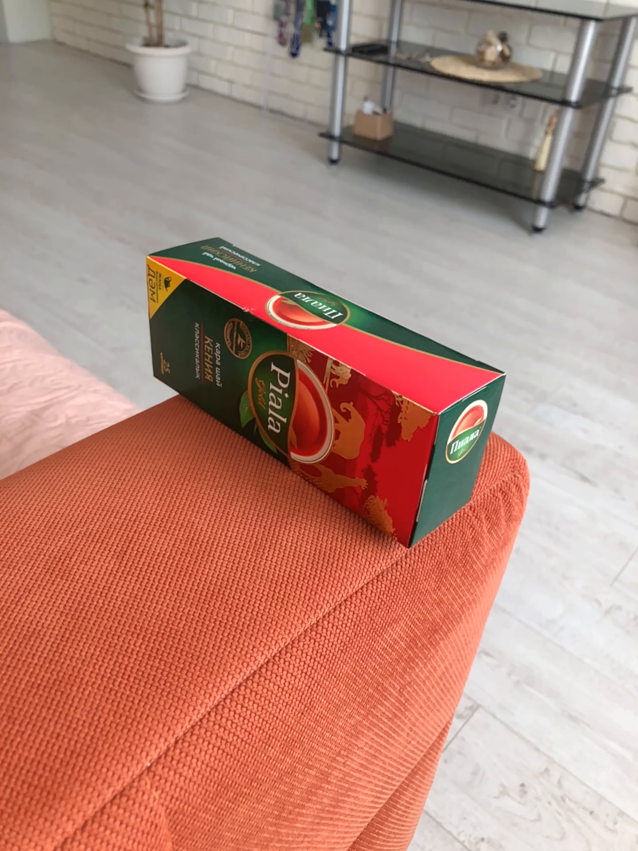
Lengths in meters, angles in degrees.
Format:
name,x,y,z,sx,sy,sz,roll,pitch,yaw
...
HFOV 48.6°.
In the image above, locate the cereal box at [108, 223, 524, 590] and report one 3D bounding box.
name,x,y,z,sx,sy,sz,roll,pitch,yaw
cereal box,-0.012,-0.018,0.288,0.170,0.069,0.050,32,44,31
